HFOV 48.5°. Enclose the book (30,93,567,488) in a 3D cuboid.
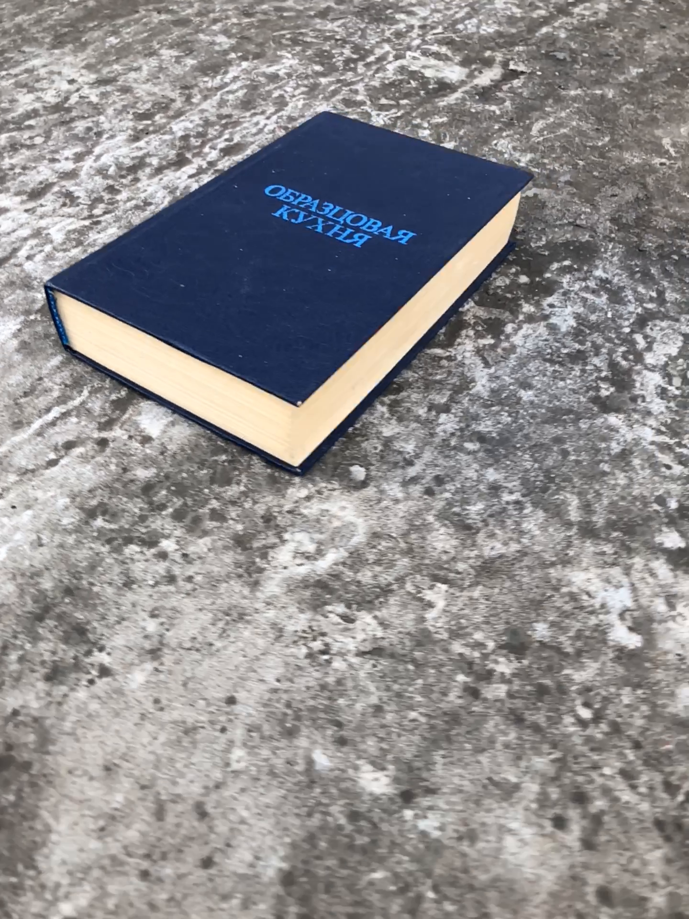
[{"bbox_3d":[-0.008,-0.096,0.351,0.140,0.040,0.211,27,51,20],"label":"book"}]
